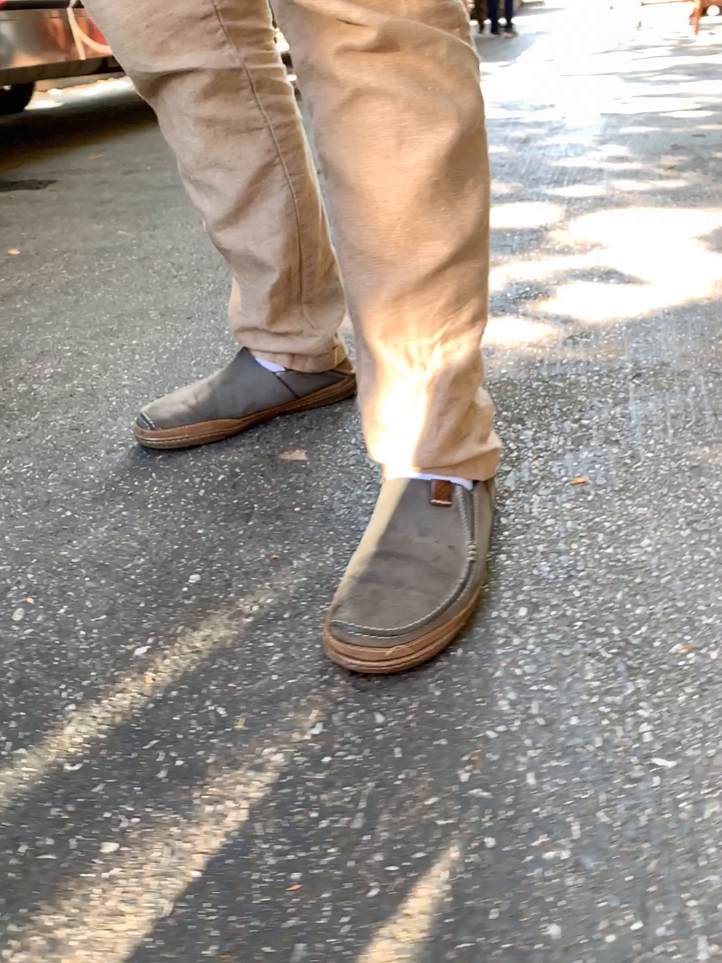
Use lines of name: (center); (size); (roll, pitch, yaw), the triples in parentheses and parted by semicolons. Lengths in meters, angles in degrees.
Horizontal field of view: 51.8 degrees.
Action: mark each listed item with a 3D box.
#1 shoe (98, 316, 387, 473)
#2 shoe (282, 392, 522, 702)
shoe: (-0.138, -0.116, 0.904); (0.320, 0.060, 0.121); (-22, 35, -23)
shoe: (0.056, 0.031, 0.651); (0.120, 0.079, 0.321); (5, 34, 19)
